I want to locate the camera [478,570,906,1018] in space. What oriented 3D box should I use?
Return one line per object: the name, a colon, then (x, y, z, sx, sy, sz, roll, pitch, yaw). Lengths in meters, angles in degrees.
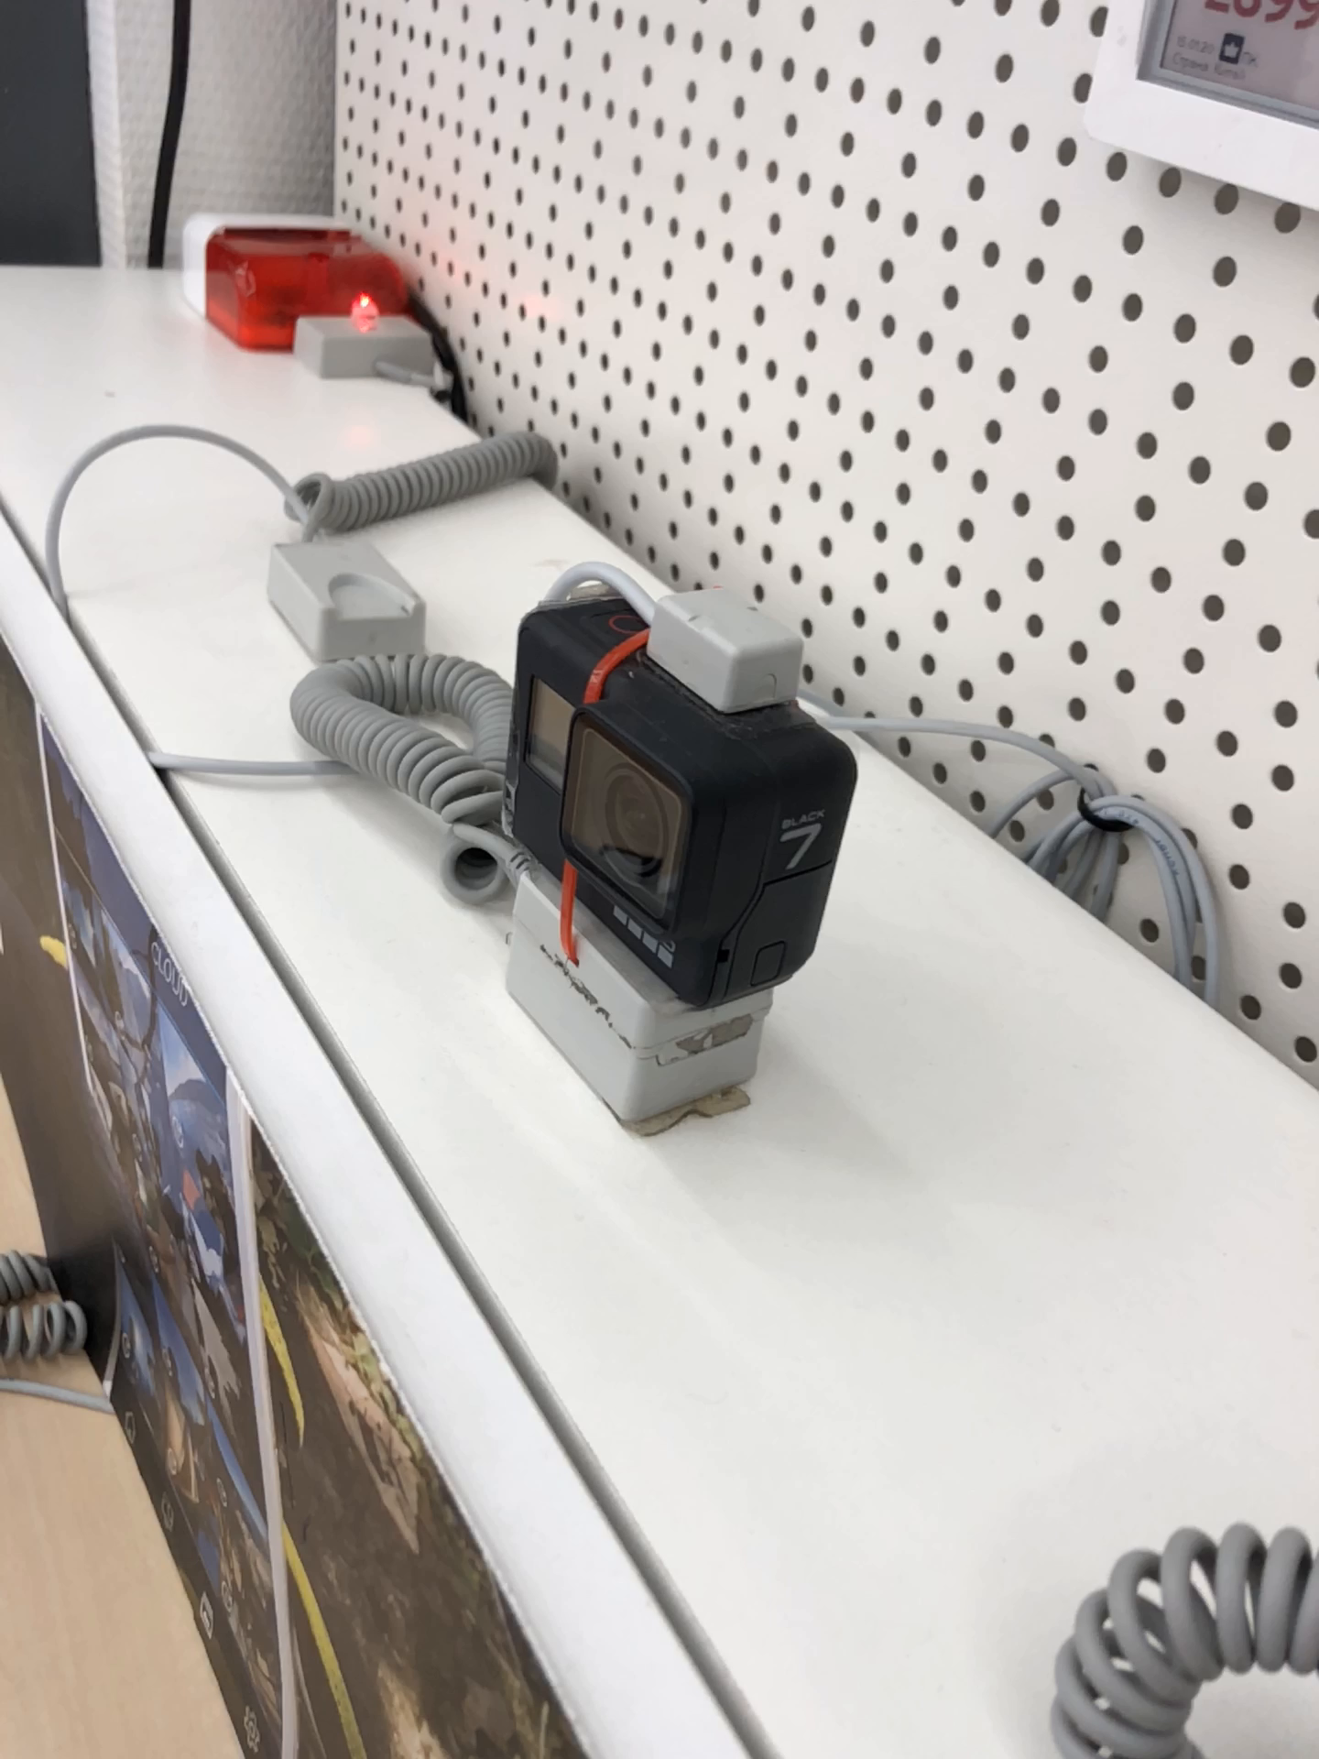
camera: (0.002, -0.017, 0.242, 0.032, 0.043, 0.064, -16, 41, -34)
